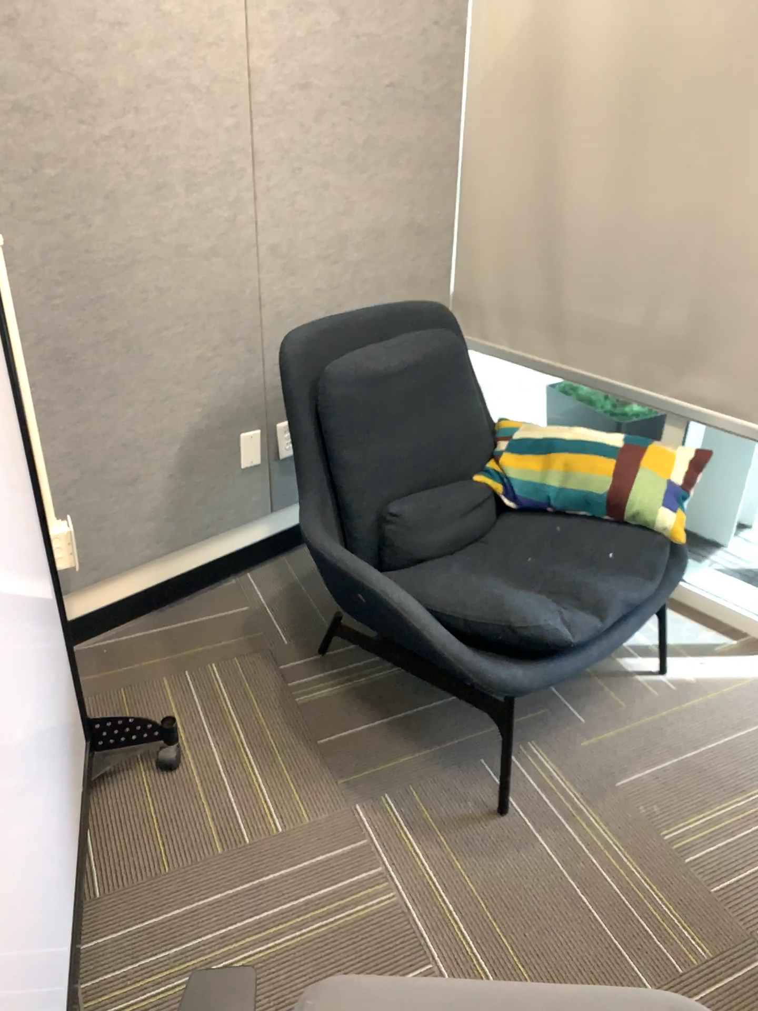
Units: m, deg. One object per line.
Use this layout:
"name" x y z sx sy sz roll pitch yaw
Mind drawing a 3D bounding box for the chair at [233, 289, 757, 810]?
"chair" 0.233 -0.007 2.053 0.791 0.816 1.004 -19 35 -33
